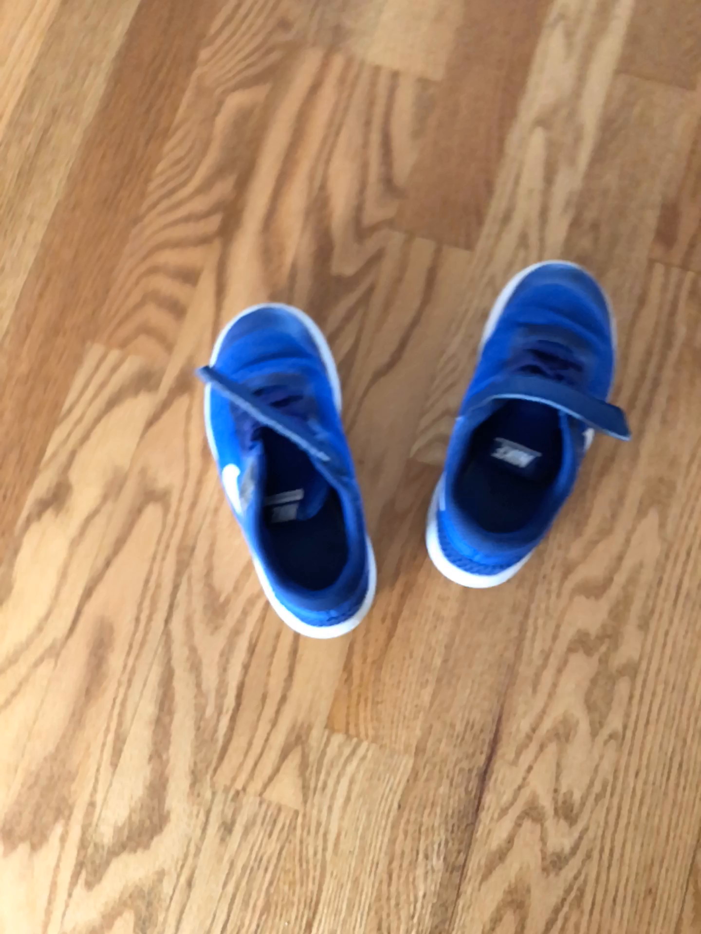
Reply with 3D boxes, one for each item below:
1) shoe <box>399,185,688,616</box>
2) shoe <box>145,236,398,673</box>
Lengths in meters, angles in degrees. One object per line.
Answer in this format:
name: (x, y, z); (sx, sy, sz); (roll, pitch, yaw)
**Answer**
shoe: (0.106, -0.032, 0.451); (0.093, 0.092, 0.214); (18, 80, 5)
shoe: (-0.042, -0.004, 0.445); (0.093, 0.092, 0.214); (-12, 79, 0)
